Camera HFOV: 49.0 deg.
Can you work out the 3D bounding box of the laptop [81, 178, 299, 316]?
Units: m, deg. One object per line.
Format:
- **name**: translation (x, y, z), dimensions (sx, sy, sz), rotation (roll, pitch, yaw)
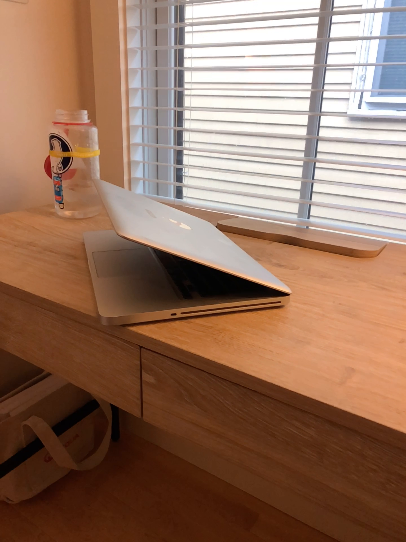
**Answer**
- **laptop**: translation (-0.046, -0.059, 0.627), dimensions (0.228, 0.089, 0.320), rotation (-4, 22, -16)
